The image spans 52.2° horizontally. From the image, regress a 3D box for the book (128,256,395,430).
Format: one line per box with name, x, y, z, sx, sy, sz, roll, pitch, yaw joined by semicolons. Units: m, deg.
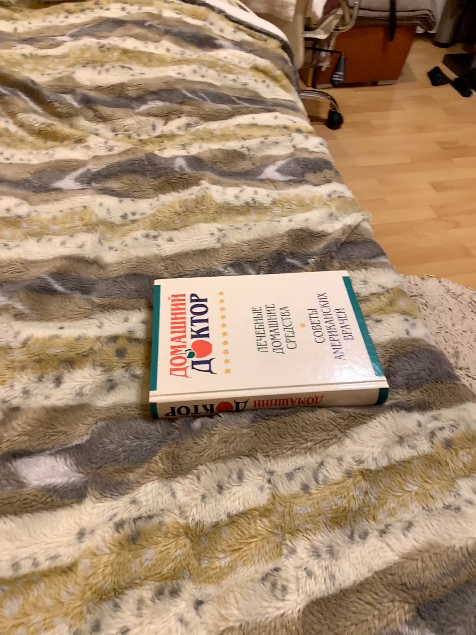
book;0.014;0.015;0.509;0.240;0.040;0.192;-2;48;-6
